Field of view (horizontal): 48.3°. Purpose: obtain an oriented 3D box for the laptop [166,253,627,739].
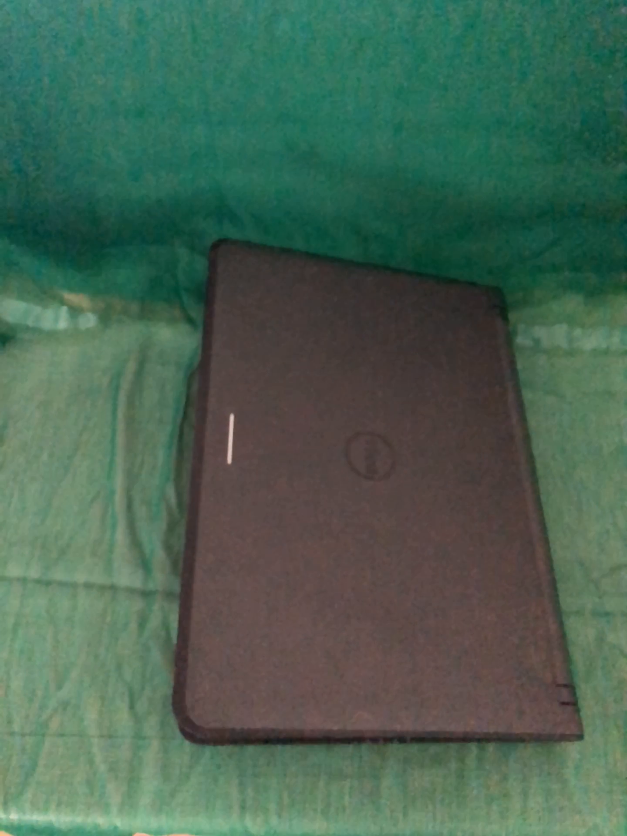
[{"bbox_3d":[0.039,0.033,0.449,0.229,0.064,0.306,0,60,-2],"label":"laptop"}]
